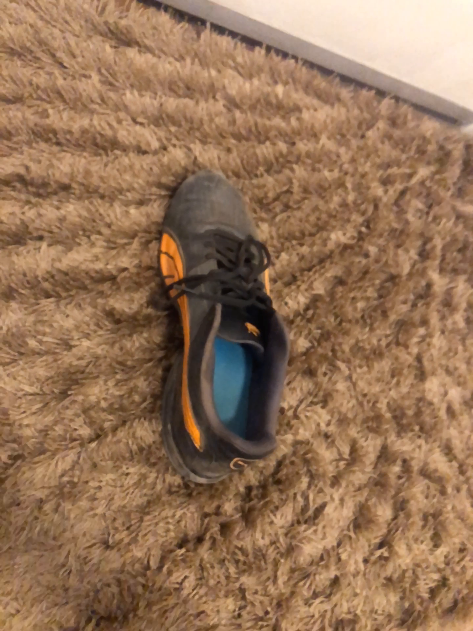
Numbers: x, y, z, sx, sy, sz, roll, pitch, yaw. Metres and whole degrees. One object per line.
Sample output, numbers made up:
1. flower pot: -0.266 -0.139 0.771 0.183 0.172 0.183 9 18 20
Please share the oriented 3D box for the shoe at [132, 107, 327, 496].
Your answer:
1. shoe: -0.008 -0.005 0.470 0.123 0.109 0.300 8 74 -30
